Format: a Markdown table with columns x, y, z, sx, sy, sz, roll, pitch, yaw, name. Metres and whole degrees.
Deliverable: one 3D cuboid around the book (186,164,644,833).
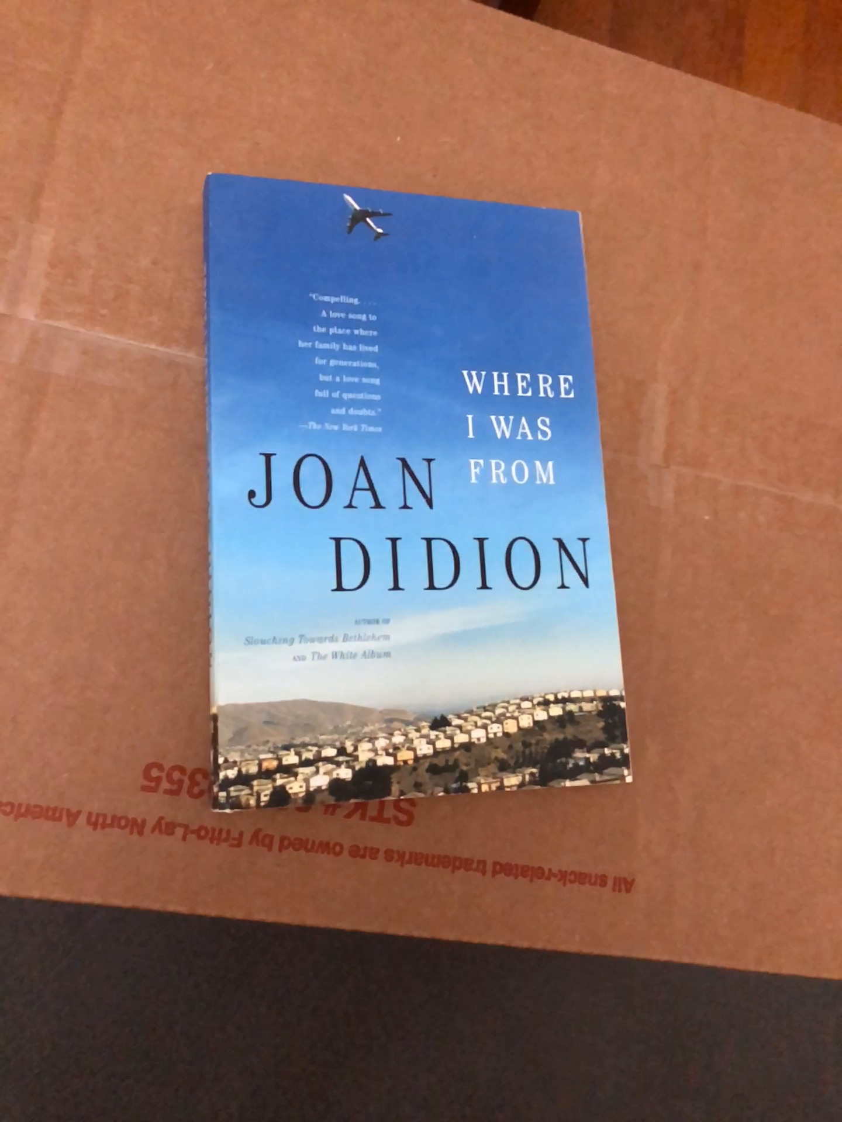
| x | y | z | sx | sy | sz | roll | pitch | yaw | name |
| --- | --- | --- | --- | --- | --- | --- | --- | --- | --- |
| -0.005 | -0.025 | 0.311 | 0.140 | 0.020 | 0.210 | 0 | 78 | -16 | book |
